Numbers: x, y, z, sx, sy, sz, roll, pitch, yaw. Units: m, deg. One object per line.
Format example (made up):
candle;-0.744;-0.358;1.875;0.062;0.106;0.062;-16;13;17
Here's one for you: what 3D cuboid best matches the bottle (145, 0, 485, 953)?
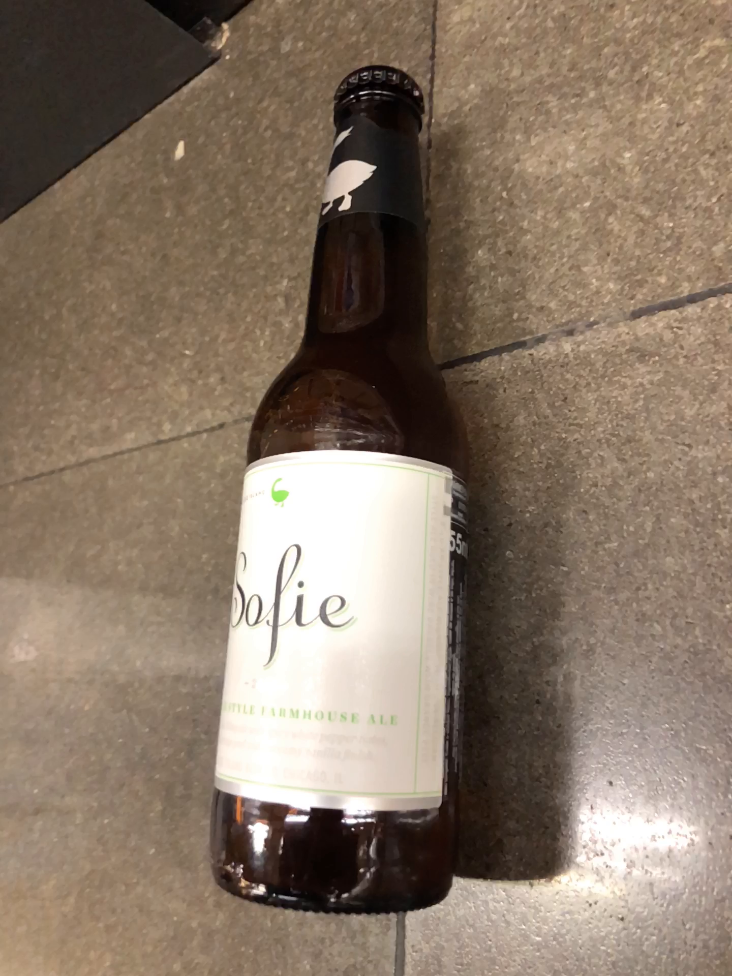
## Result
bottle;-0.010;-0.018;0.224;0.070;0.040;0.240;-11;70;41
